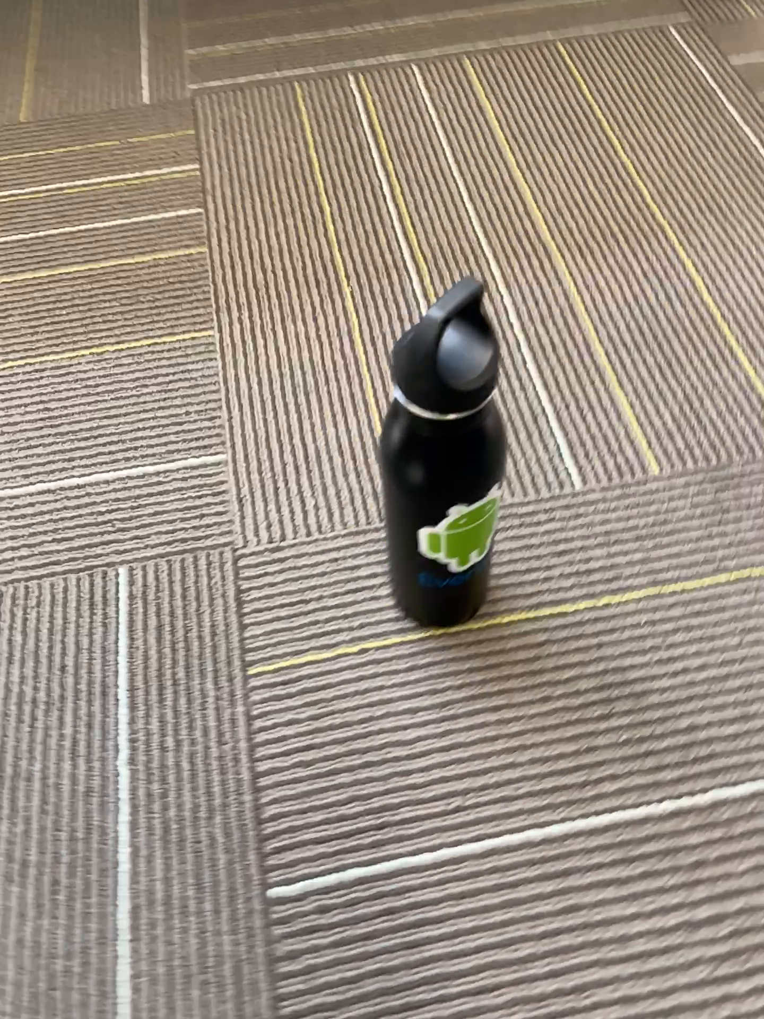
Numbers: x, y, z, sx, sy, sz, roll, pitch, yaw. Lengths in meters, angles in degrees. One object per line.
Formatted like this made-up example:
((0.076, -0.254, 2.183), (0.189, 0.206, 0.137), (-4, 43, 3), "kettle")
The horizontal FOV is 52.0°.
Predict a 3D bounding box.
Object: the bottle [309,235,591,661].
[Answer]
((0.032, -0.015, 0.435), (0.090, 0.239, 0.080), (-29, 61, -15), "bottle")
